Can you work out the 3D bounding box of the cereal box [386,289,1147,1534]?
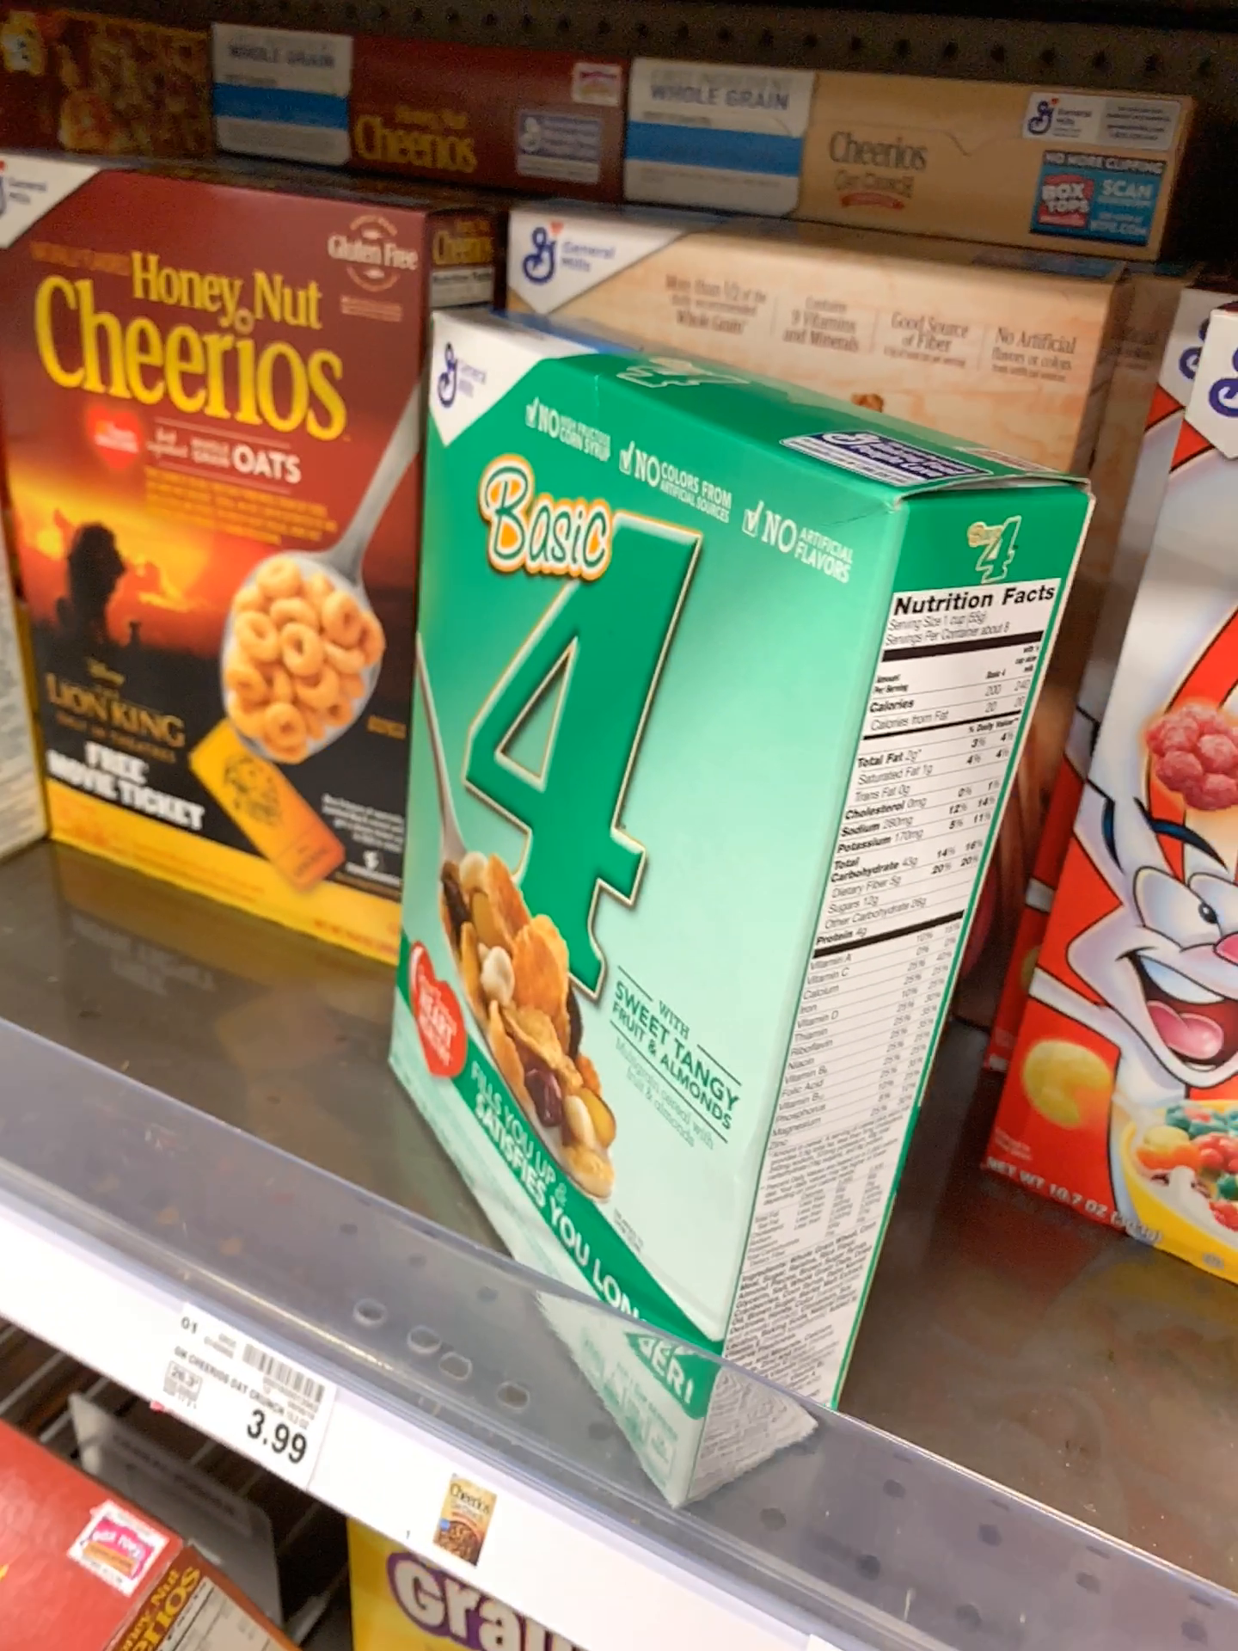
[{"bbox_3d":[0.004,0.011,0.346,0.050,0.259,0.201,-9,32,-30],"label":"cereal box"}]
